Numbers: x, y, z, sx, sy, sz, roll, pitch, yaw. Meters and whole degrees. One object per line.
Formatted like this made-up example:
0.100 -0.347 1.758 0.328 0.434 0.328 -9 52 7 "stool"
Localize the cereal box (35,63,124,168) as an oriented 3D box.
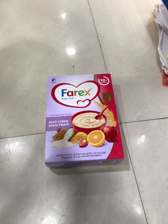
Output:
-0.015 -0.001 0.365 0.150 0.060 0.210 -2 64 -4 "cereal box"
